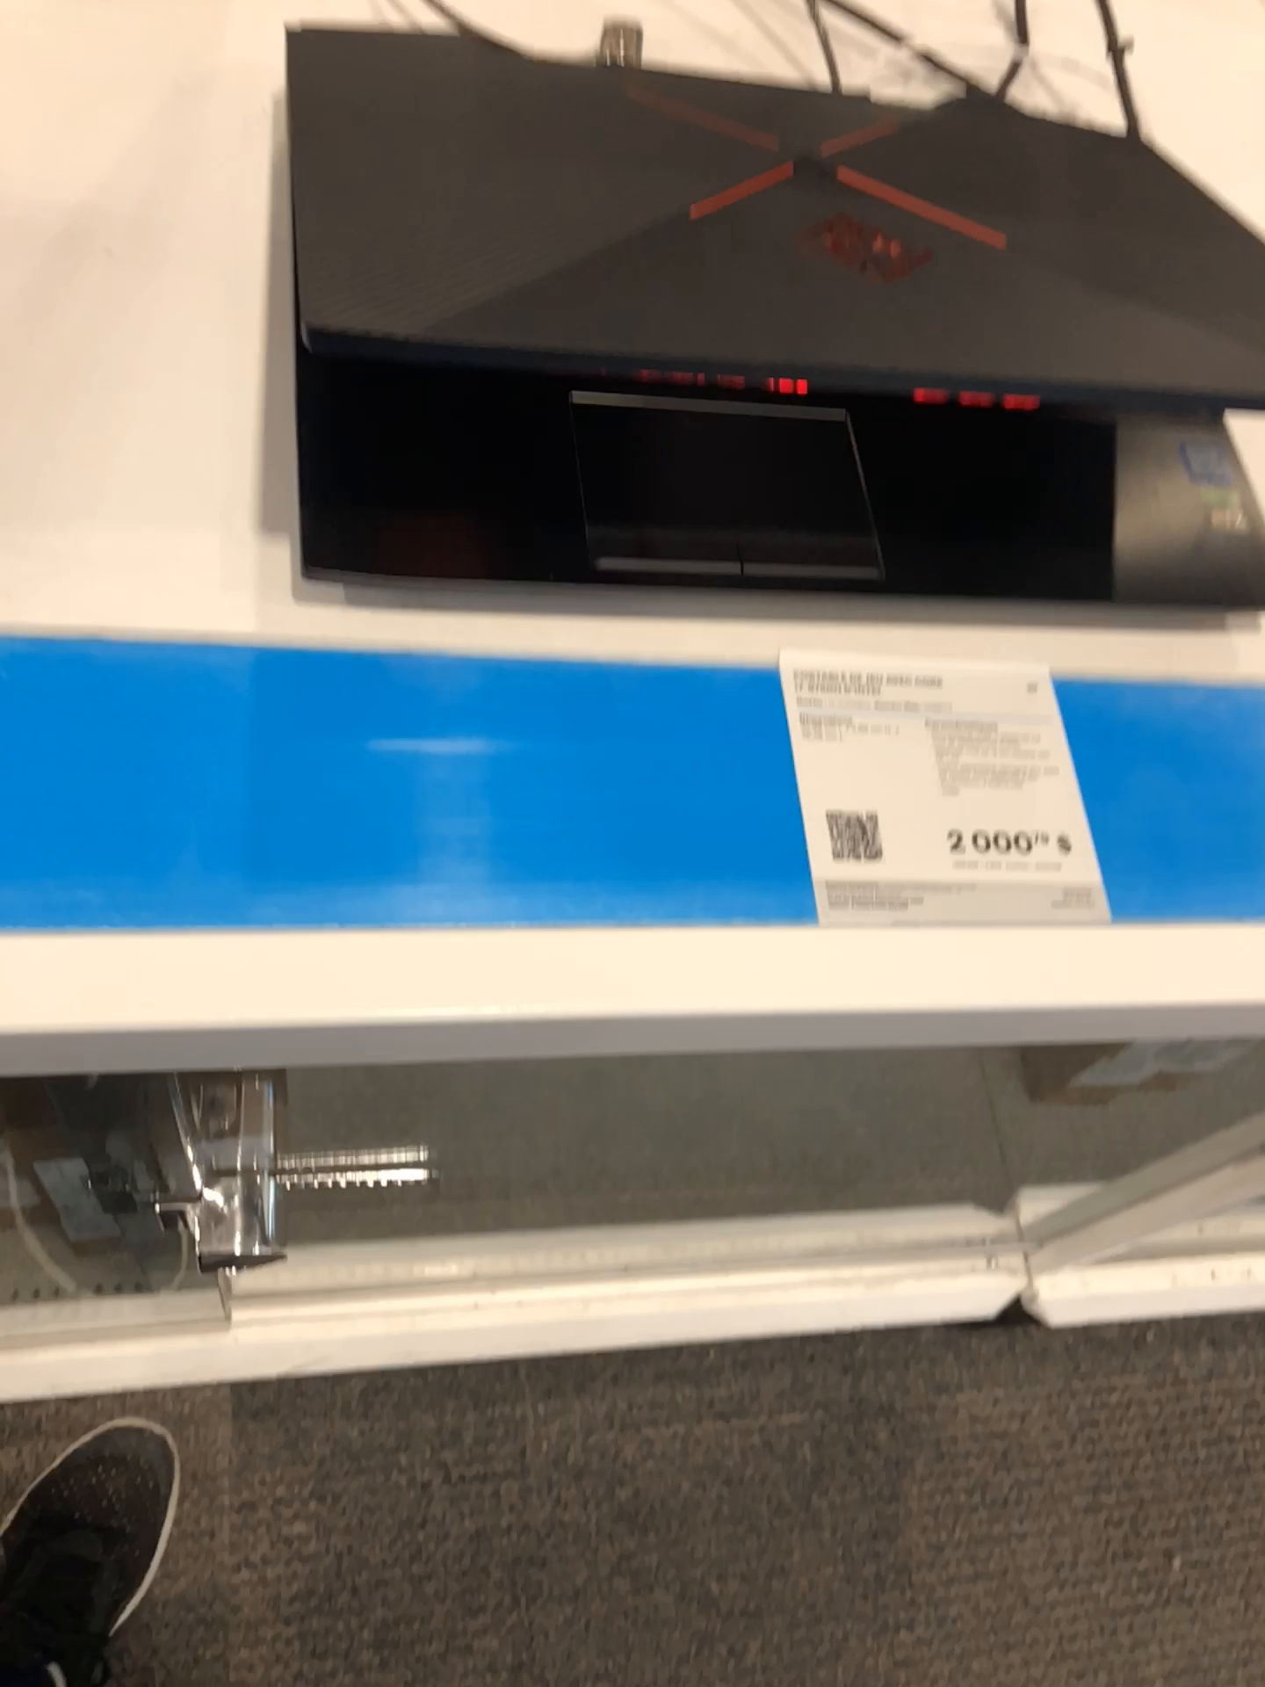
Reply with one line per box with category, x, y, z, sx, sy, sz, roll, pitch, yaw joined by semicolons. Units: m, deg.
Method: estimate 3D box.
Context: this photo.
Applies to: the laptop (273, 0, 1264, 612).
laptop;0.062;-0.206;0.464;0.346;0.085;0.235;0;64;-14
